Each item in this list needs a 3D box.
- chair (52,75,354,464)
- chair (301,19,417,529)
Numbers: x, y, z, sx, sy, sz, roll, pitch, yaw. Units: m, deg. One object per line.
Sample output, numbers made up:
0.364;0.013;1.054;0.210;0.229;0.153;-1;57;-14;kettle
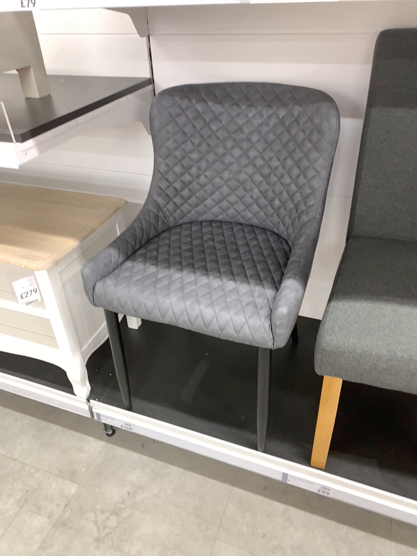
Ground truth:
0.051;-0.051;1.130;0.481;0.792;0.545;10;36;18;chair
0.511;-0.021;0.952;0.431;0.911;0.565;10;36;18;chair
